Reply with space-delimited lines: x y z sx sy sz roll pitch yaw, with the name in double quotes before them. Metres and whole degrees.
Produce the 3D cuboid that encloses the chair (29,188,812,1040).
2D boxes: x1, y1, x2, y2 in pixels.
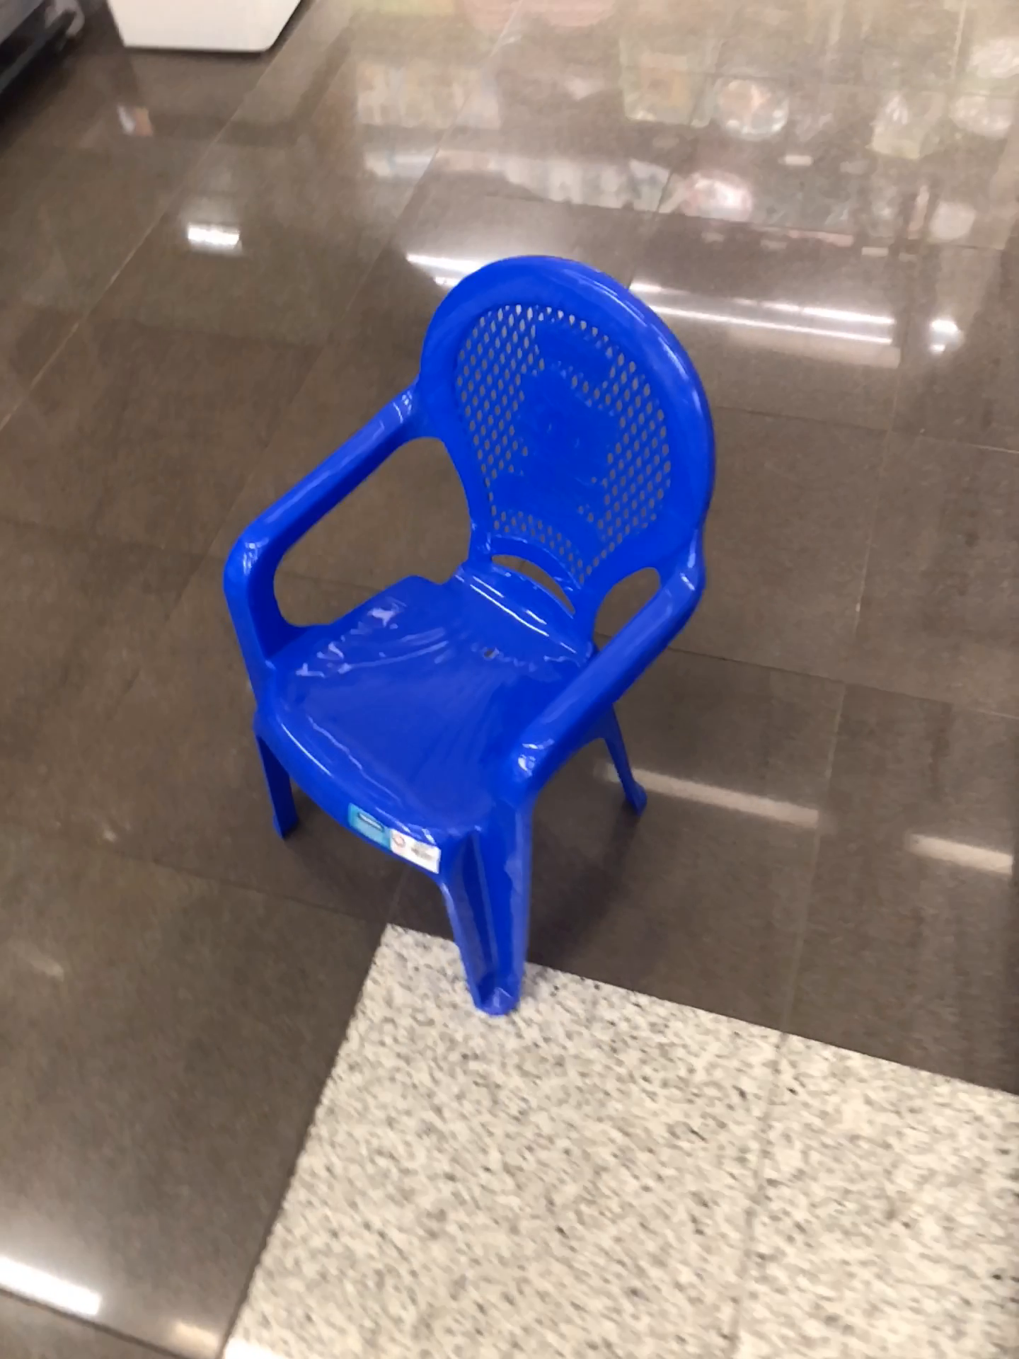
"chair" -0.040 -0.033 0.959 0.351 0.507 0.401 36 66 26
